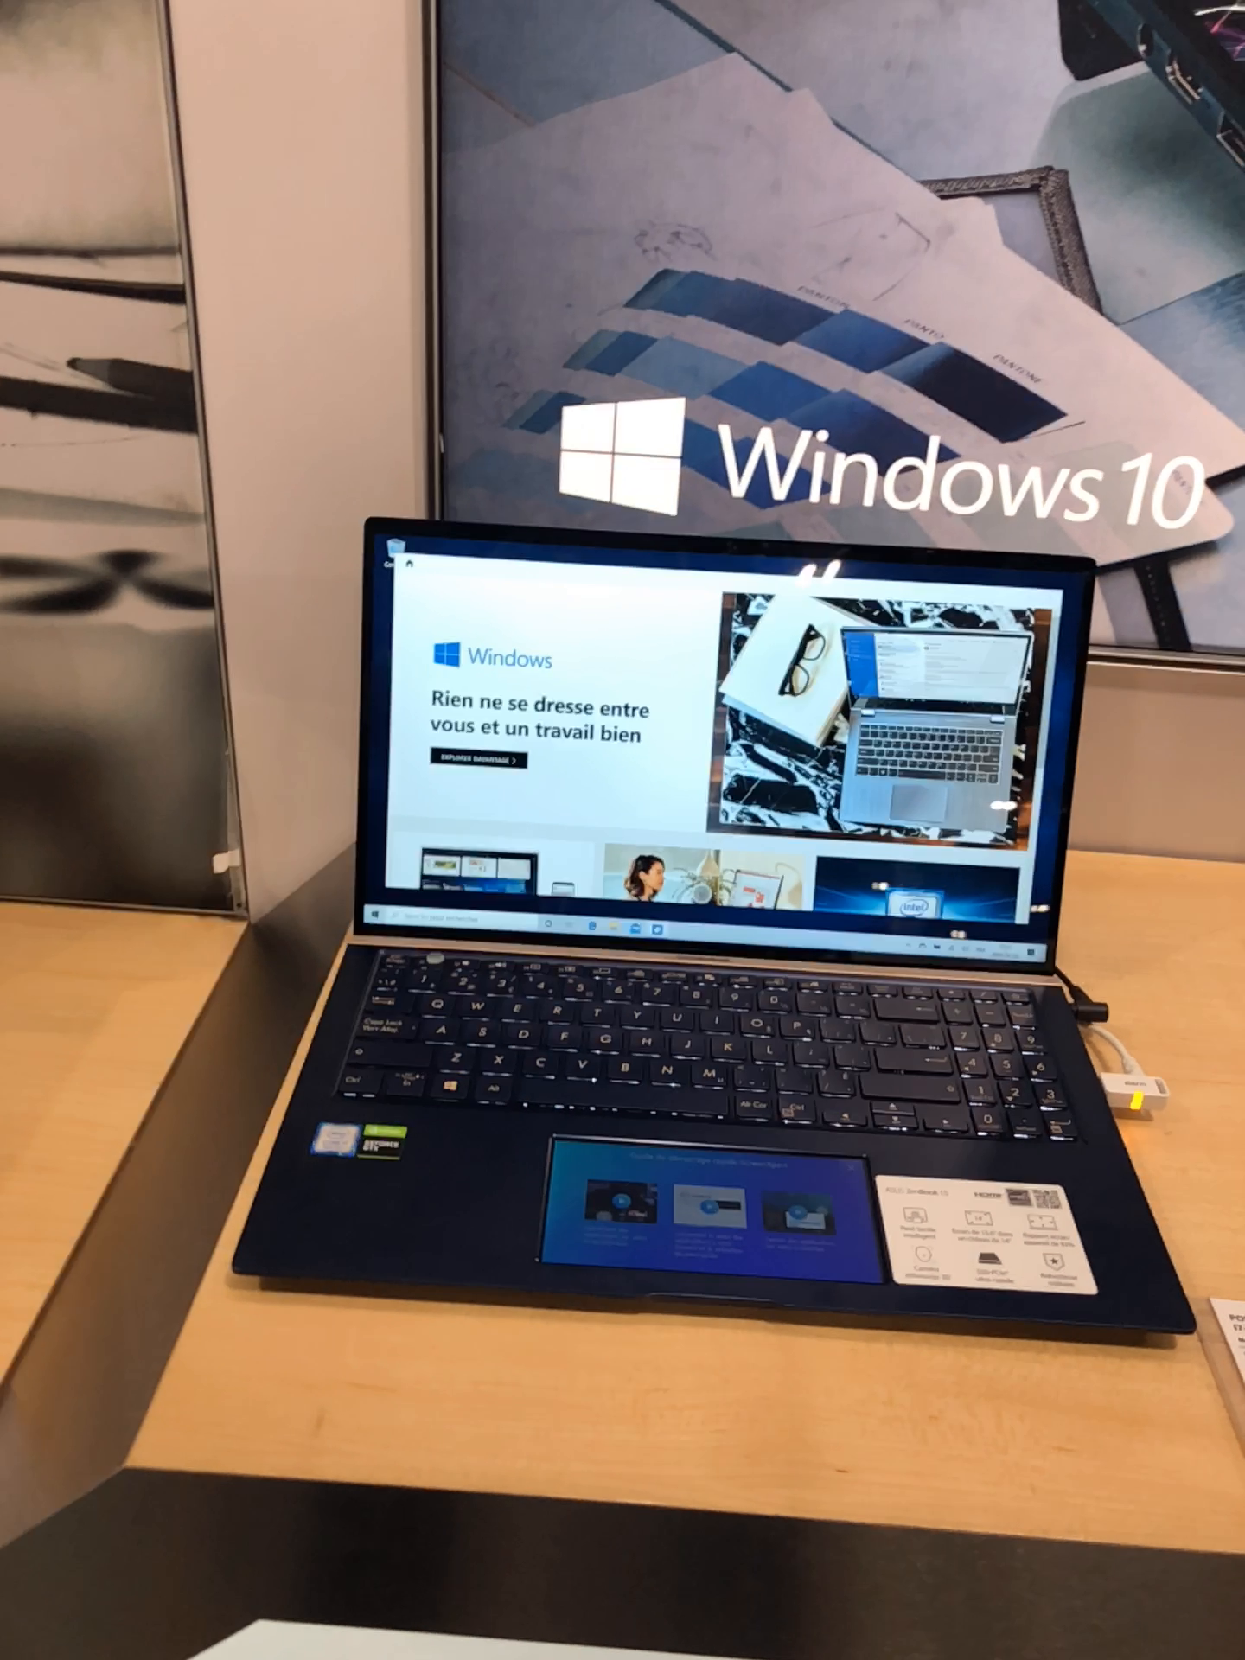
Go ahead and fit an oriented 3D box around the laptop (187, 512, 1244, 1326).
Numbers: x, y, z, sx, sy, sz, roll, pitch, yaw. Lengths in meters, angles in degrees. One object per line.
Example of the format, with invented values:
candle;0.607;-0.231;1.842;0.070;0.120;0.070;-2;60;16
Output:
laptop;0.040;0.015;0.560;0.337;0.183;0.274;4;30;-1
